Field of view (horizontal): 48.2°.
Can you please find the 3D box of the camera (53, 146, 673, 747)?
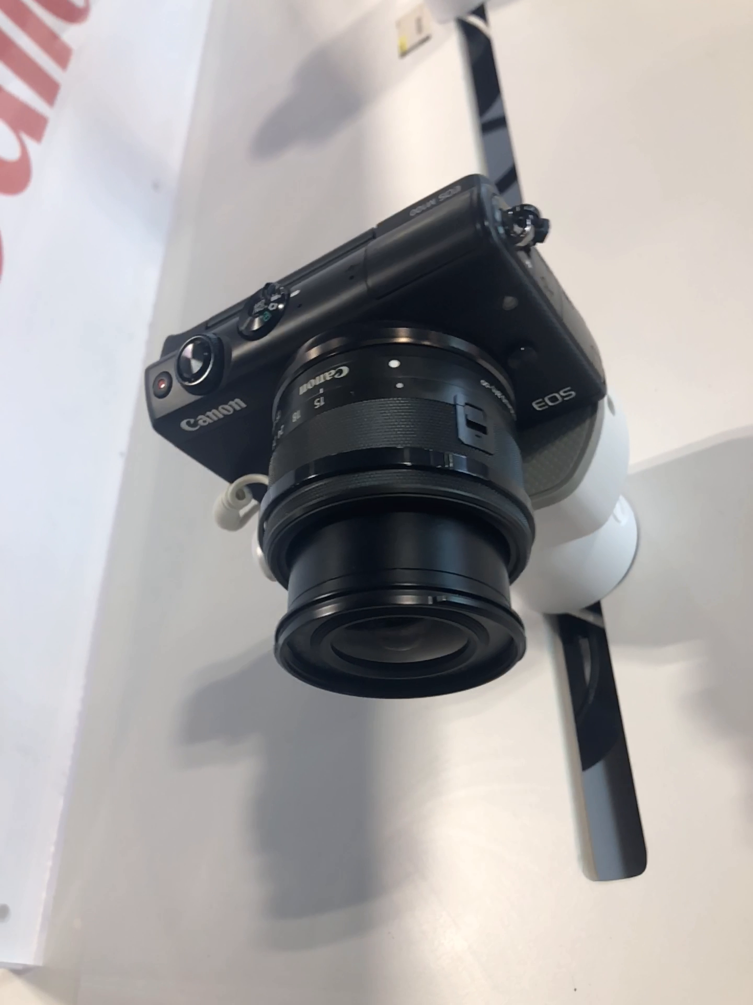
[{"bbox_3d":[-0.003,-0.004,0.203,0.110,0.072,0.091,-20,51,30],"label":"camera"}]
